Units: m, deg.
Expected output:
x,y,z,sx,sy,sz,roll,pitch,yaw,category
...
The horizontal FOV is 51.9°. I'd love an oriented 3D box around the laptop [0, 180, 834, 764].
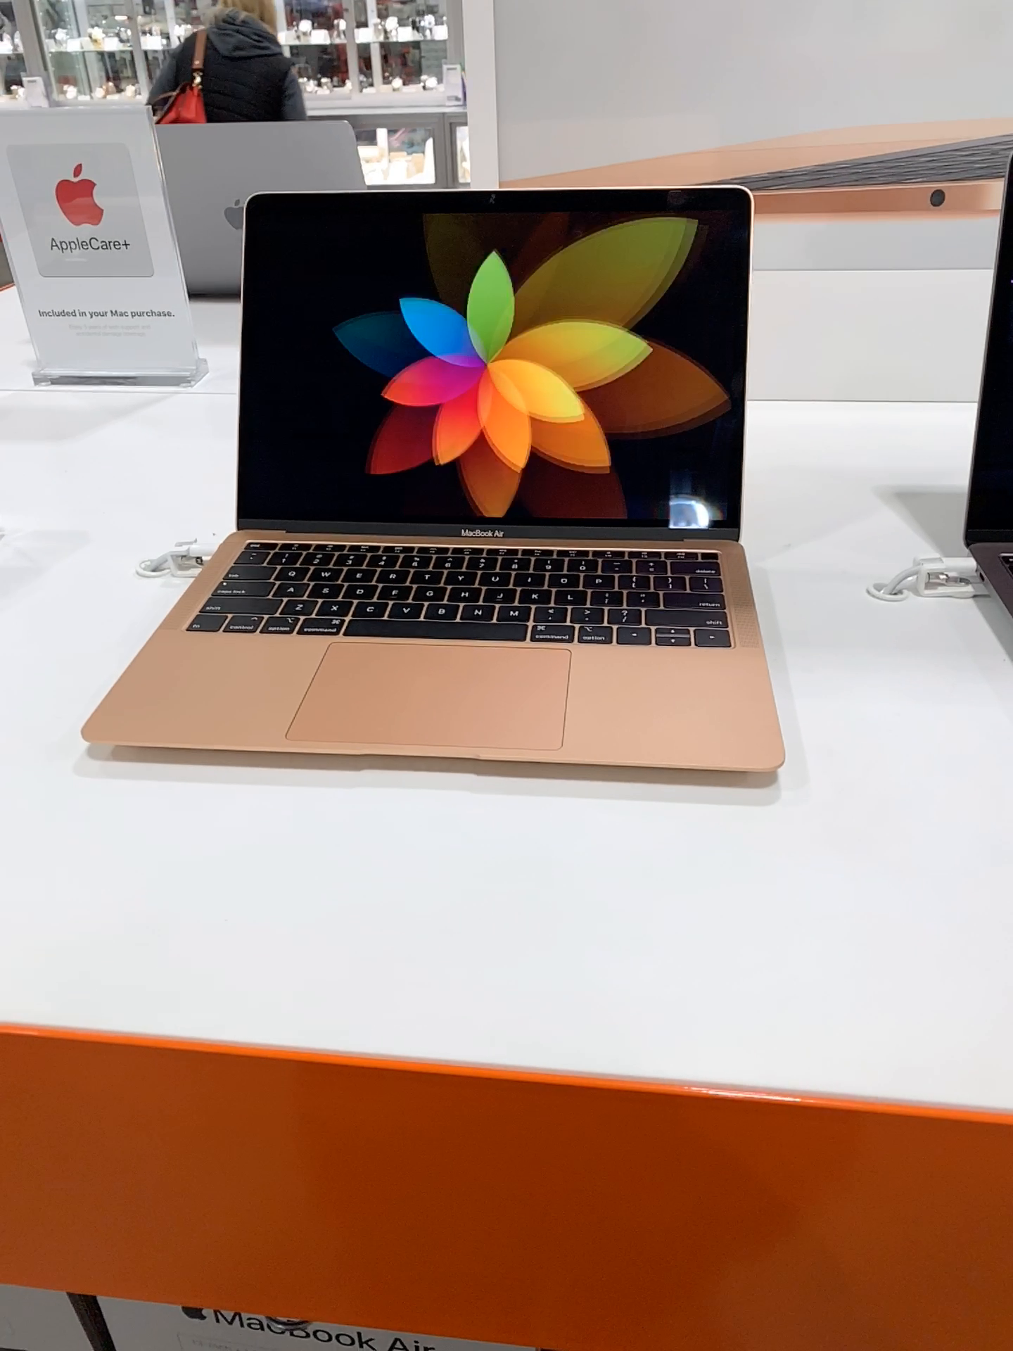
x,y,z,sx,sy,sz,roll,pitch,yaw,category
-0.023,-0.127,0.518,0.293,0.170,0.311,2,33,6,laptop
